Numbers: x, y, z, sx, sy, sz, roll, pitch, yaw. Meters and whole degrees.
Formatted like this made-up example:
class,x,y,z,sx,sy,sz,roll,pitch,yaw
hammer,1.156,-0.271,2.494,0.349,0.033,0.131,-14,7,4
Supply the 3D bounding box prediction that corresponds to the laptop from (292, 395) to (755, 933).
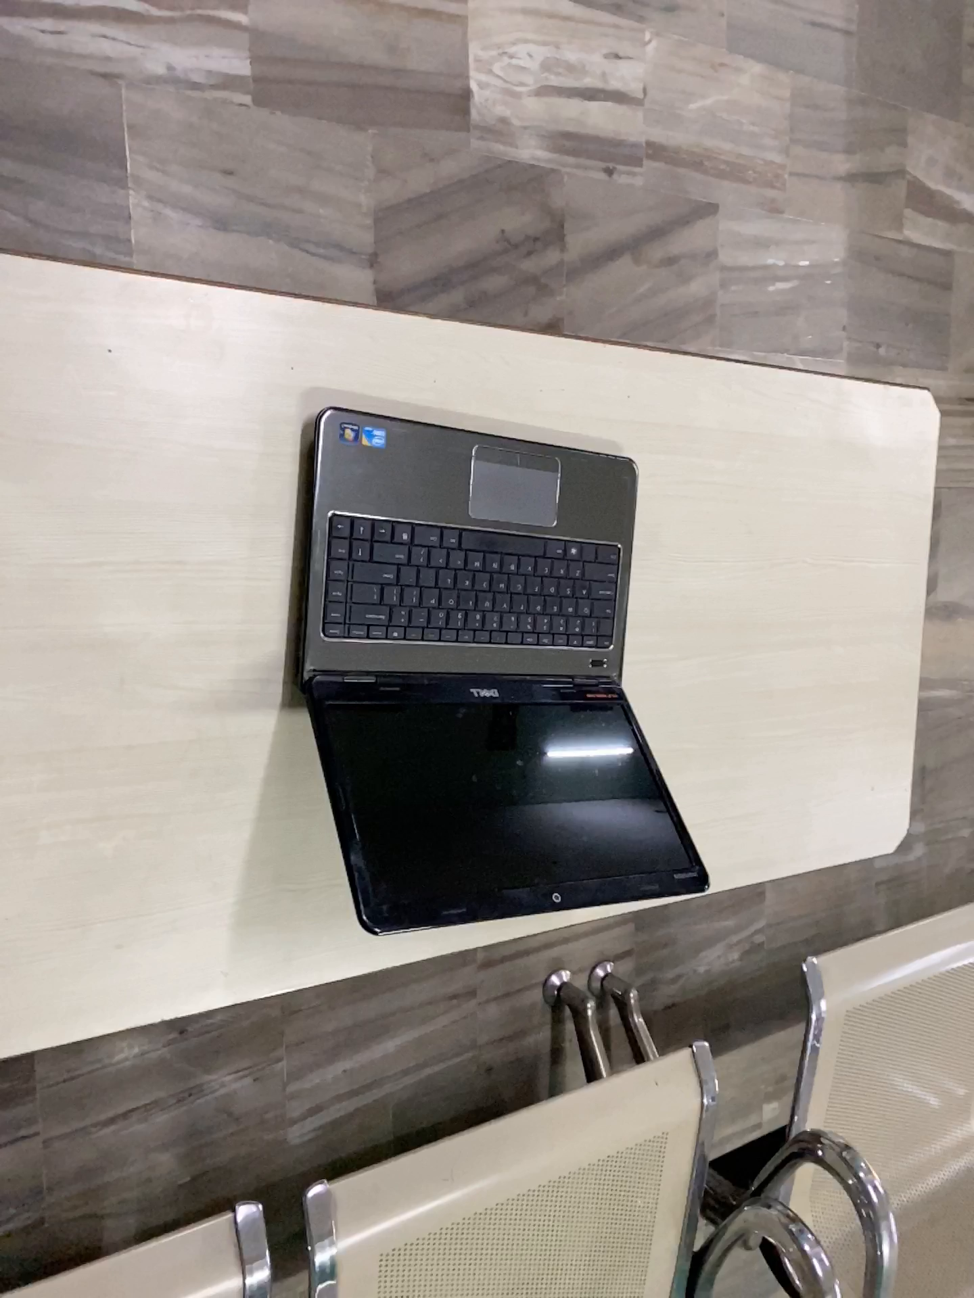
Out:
class,x,y,z,sx,sy,sz,roll,pitch,yaw
laptop,0.031,0.012,0.836,0.330,0.152,0.378,2,95,-30
